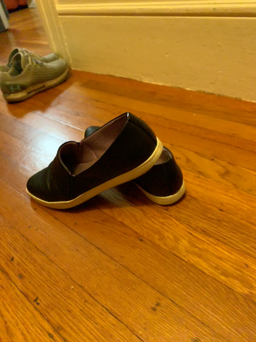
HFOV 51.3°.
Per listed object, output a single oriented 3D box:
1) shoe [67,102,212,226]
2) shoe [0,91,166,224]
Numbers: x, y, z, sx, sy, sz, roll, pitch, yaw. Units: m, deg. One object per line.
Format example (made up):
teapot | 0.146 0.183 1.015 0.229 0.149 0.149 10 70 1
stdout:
shoe | 0.006 -0.031 0.469 0.100 0.080 0.261 -31 43 -23
shoe | -0.075 -0.012 0.405 0.250 0.080 0.101 -20 34 24
